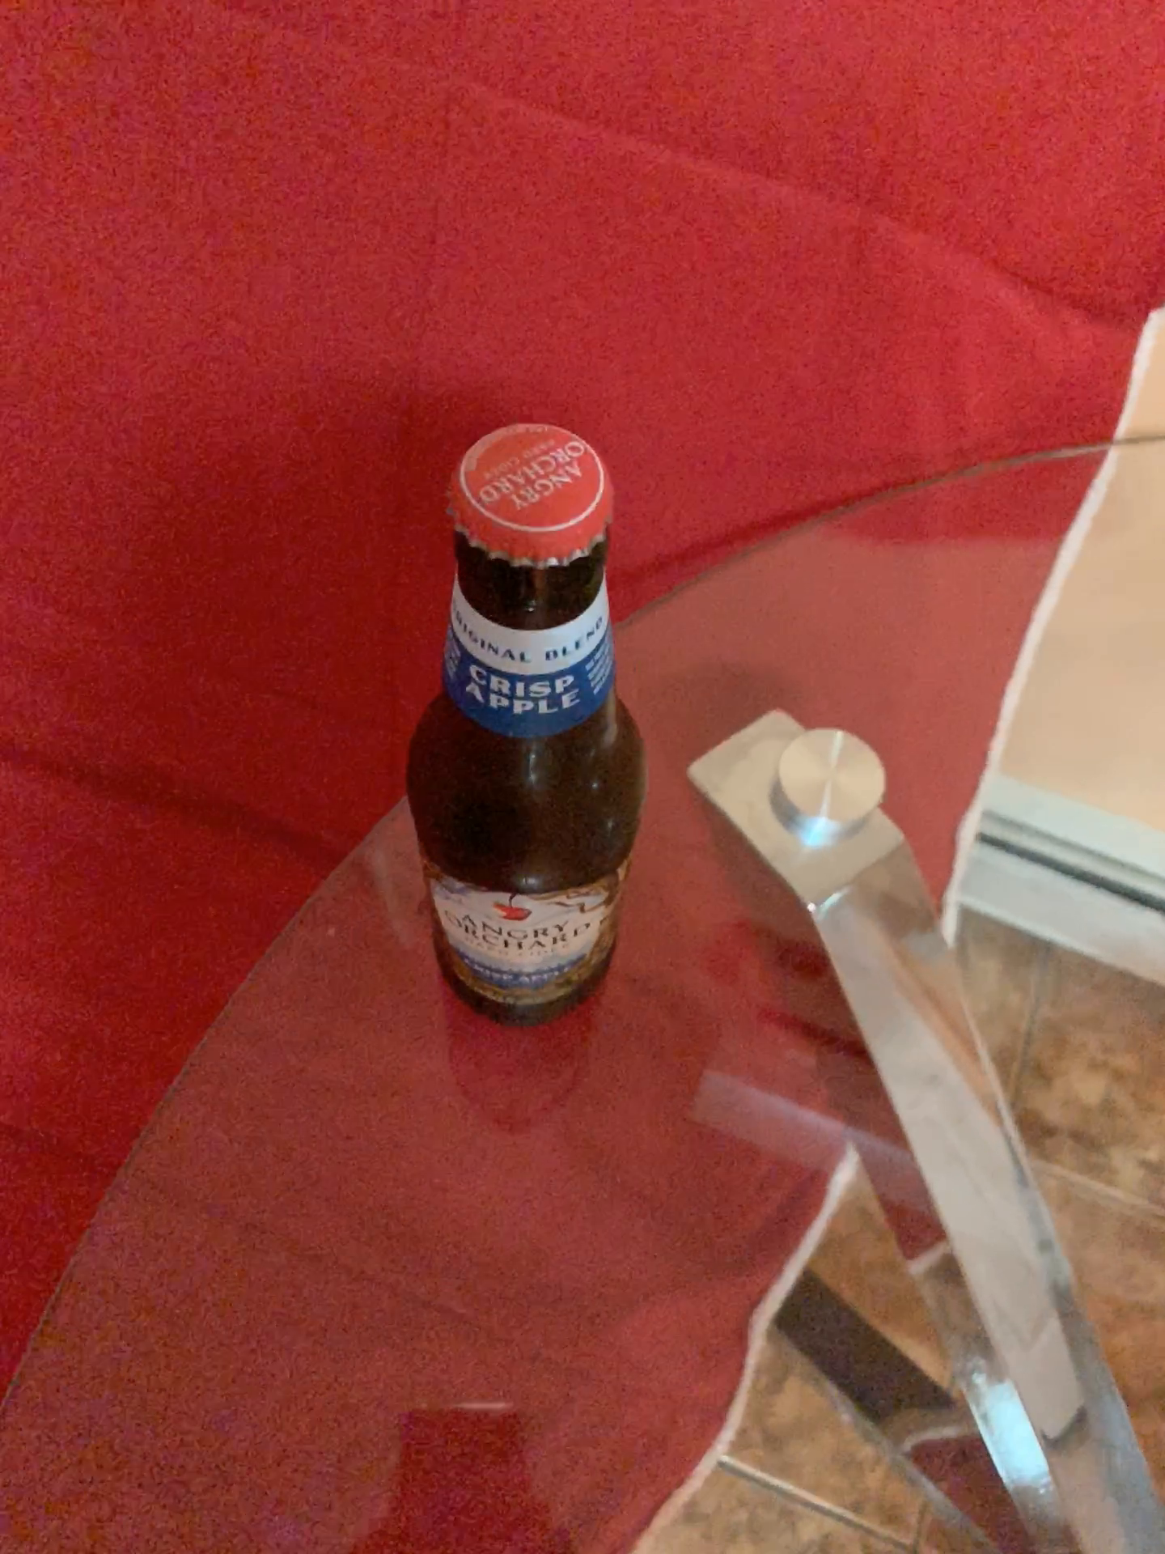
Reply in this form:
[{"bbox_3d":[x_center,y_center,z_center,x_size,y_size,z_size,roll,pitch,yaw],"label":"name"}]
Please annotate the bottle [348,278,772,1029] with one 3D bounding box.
[{"bbox_3d":[-0.010,-0.006,0.317,0.070,0.231,0.070,2,60,-3],"label":"bottle"}]
